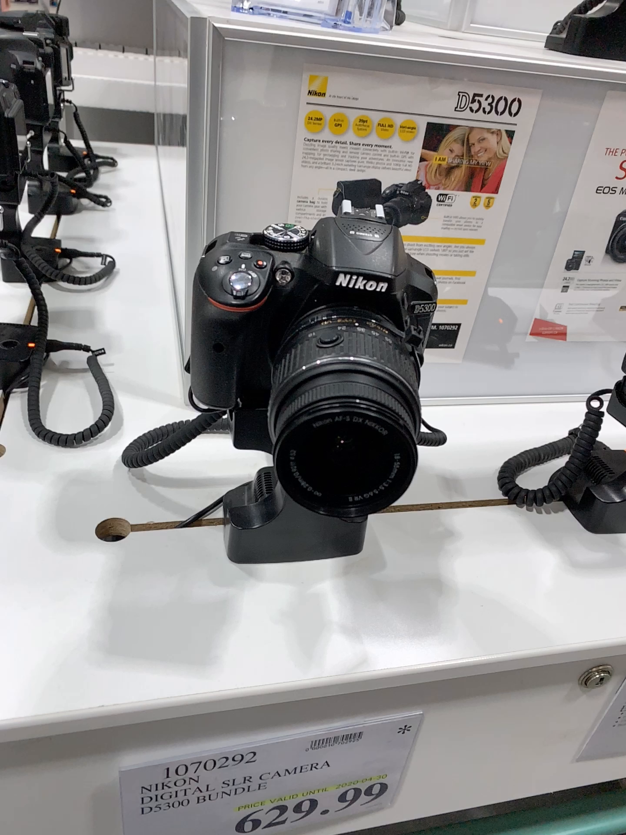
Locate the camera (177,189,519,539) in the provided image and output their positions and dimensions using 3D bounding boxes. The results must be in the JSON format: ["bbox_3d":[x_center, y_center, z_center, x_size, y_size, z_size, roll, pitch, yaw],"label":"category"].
[{"bbox_3d":[0.006,-0.035,0.313,0.120,0.099,0.151,5,33,-5],"label":"camera"}]
